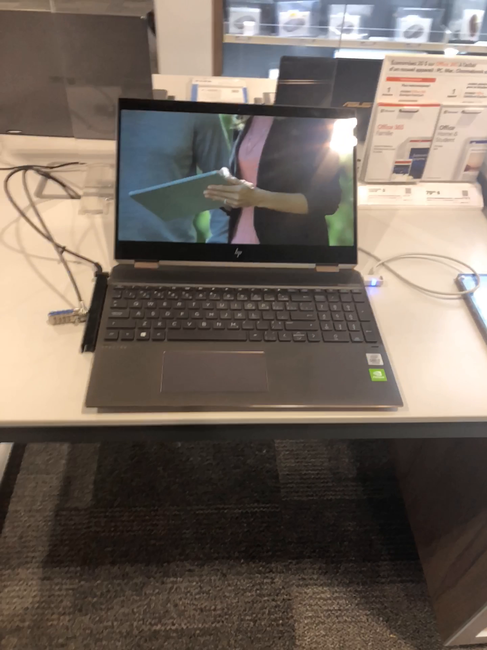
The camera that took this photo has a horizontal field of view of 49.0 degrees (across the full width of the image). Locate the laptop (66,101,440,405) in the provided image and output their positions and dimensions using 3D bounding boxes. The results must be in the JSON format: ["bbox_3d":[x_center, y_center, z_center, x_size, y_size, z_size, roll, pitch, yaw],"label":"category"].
[{"bbox_3d":[-0.003,-0.118,0.677,0.333,0.145,0.427,0,45,-2],"label":"laptop"}]
